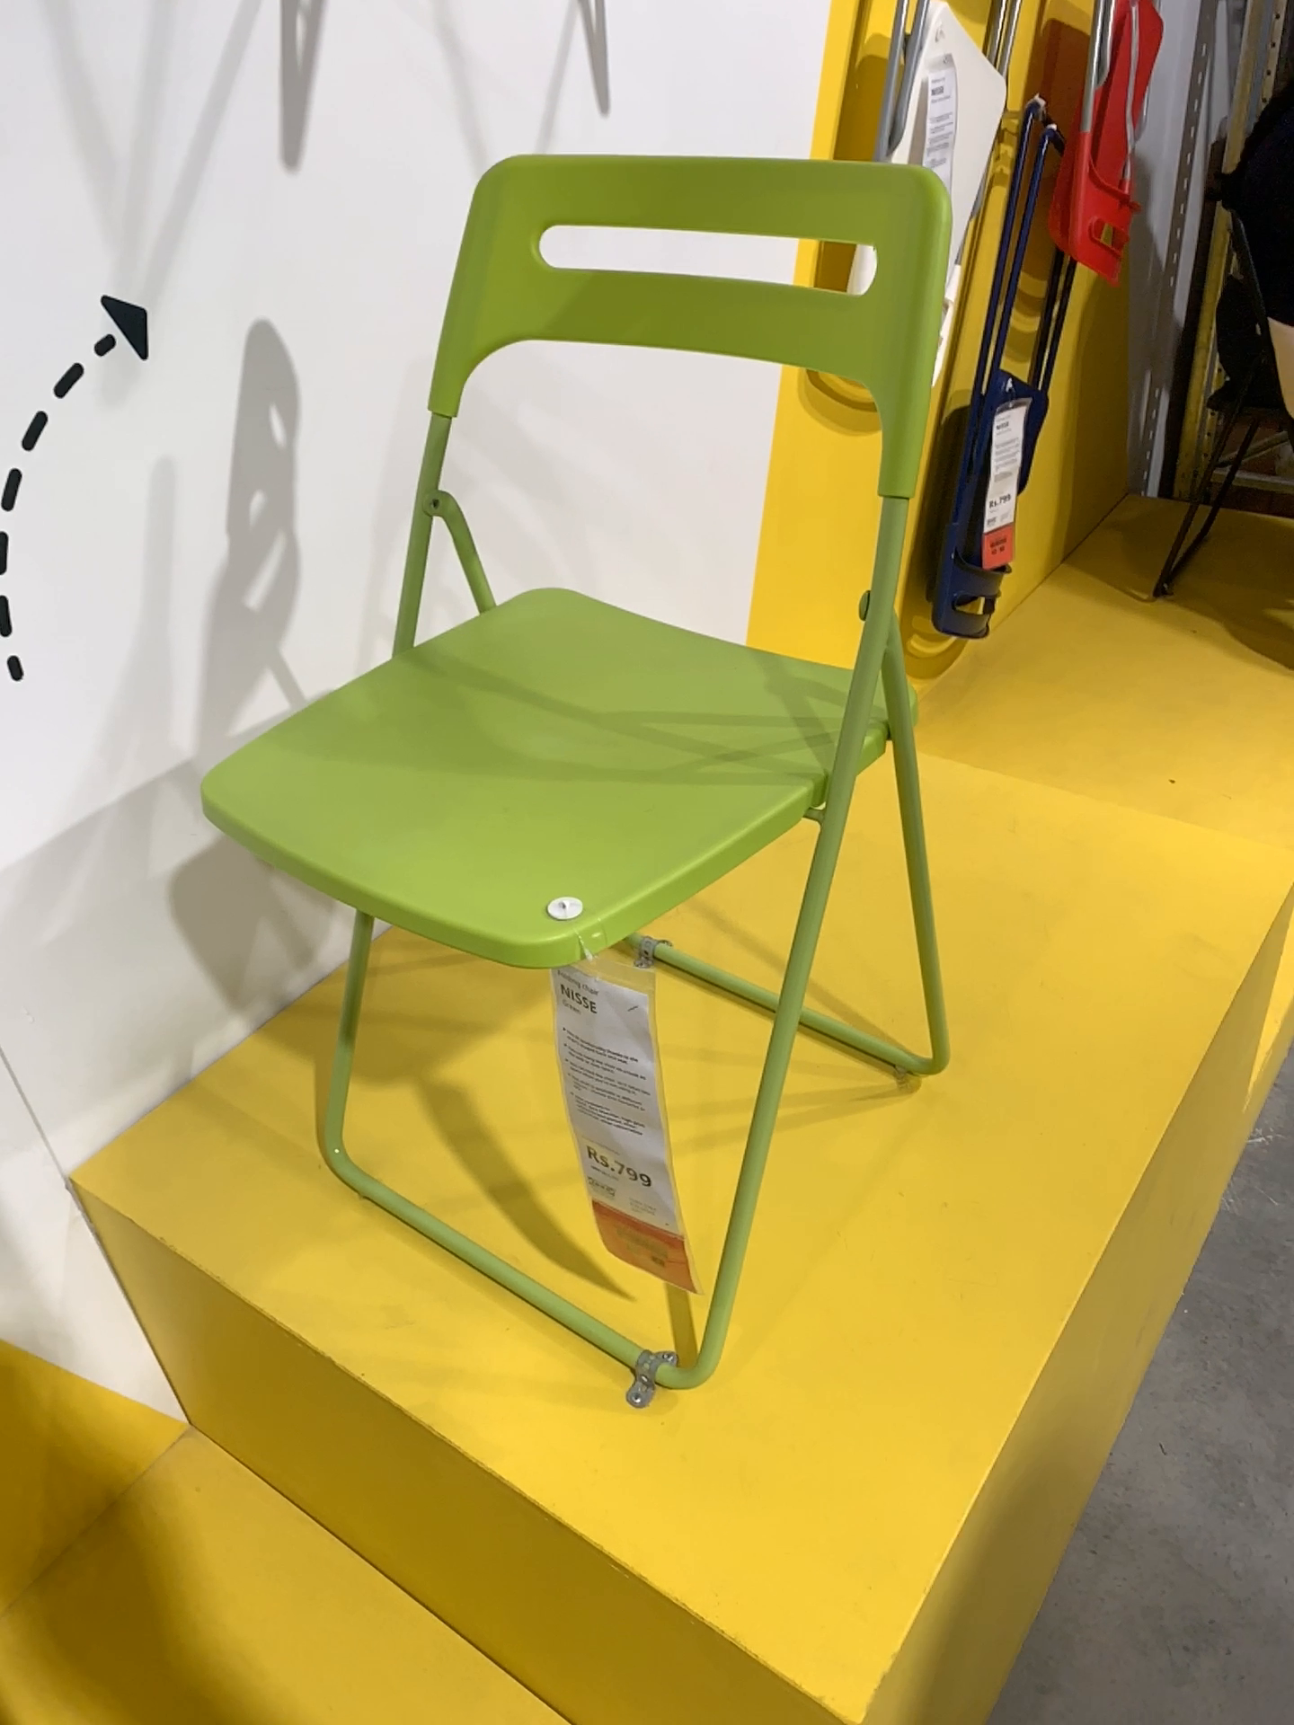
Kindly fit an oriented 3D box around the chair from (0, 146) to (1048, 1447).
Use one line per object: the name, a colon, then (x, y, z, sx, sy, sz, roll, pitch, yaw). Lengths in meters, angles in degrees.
chair: (-0.052, -0.074, 0.959, 0.451, 0.717, 0.461, 20, 43, 32)
